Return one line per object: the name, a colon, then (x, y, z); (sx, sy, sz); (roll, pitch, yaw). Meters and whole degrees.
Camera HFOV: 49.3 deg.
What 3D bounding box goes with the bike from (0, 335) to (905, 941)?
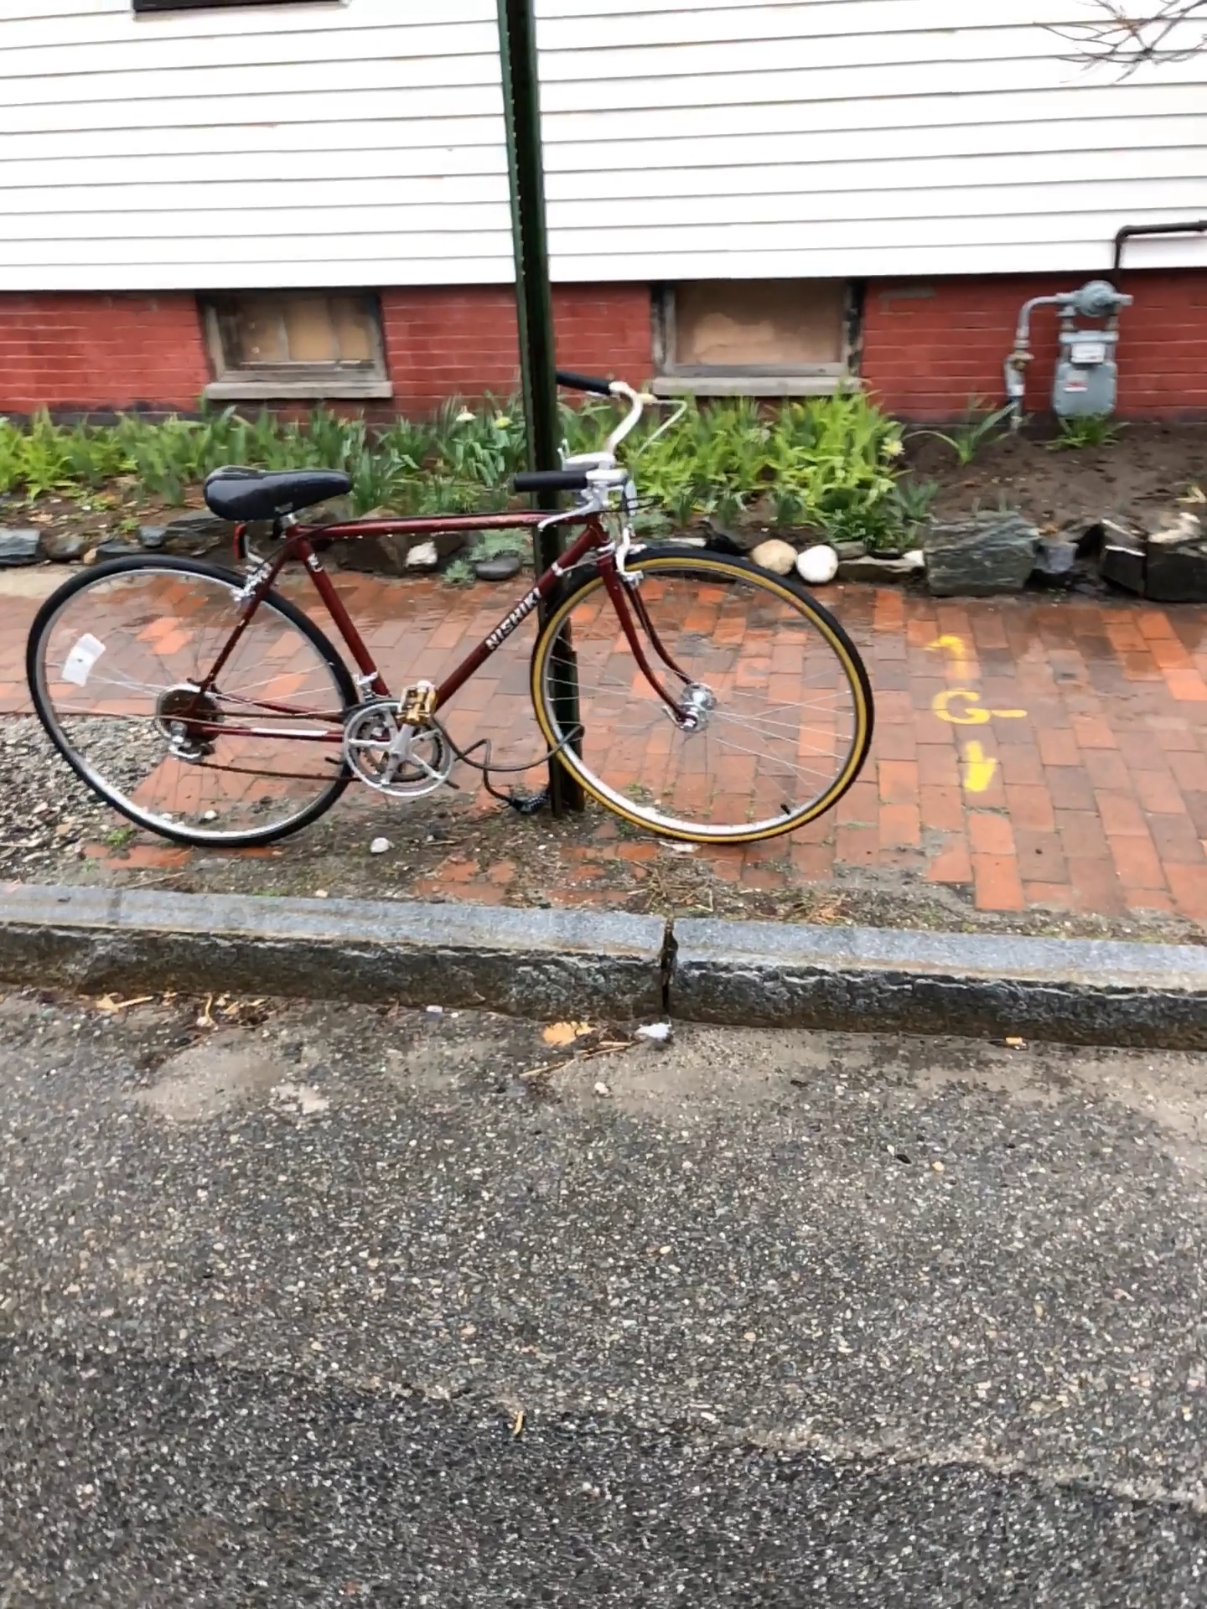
bike: (-0.325, -0.287, 2.389); (1.604, 0.907, 0.502); (0, 28, 9)
